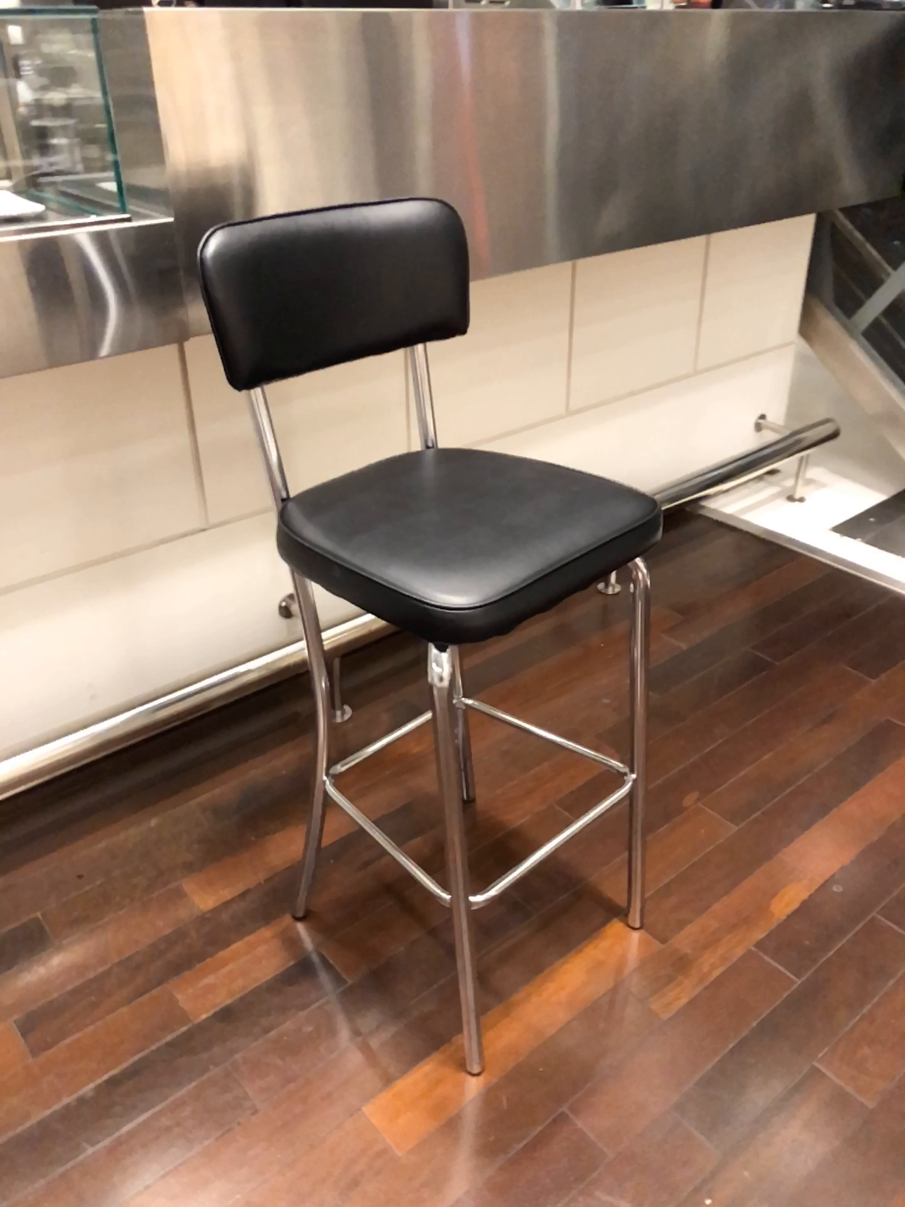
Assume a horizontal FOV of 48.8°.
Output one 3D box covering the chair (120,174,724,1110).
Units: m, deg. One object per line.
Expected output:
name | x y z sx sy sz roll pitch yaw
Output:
chair | -0.032 0.034 1.279 0.422 1.012 0.472 -26 37 -38
